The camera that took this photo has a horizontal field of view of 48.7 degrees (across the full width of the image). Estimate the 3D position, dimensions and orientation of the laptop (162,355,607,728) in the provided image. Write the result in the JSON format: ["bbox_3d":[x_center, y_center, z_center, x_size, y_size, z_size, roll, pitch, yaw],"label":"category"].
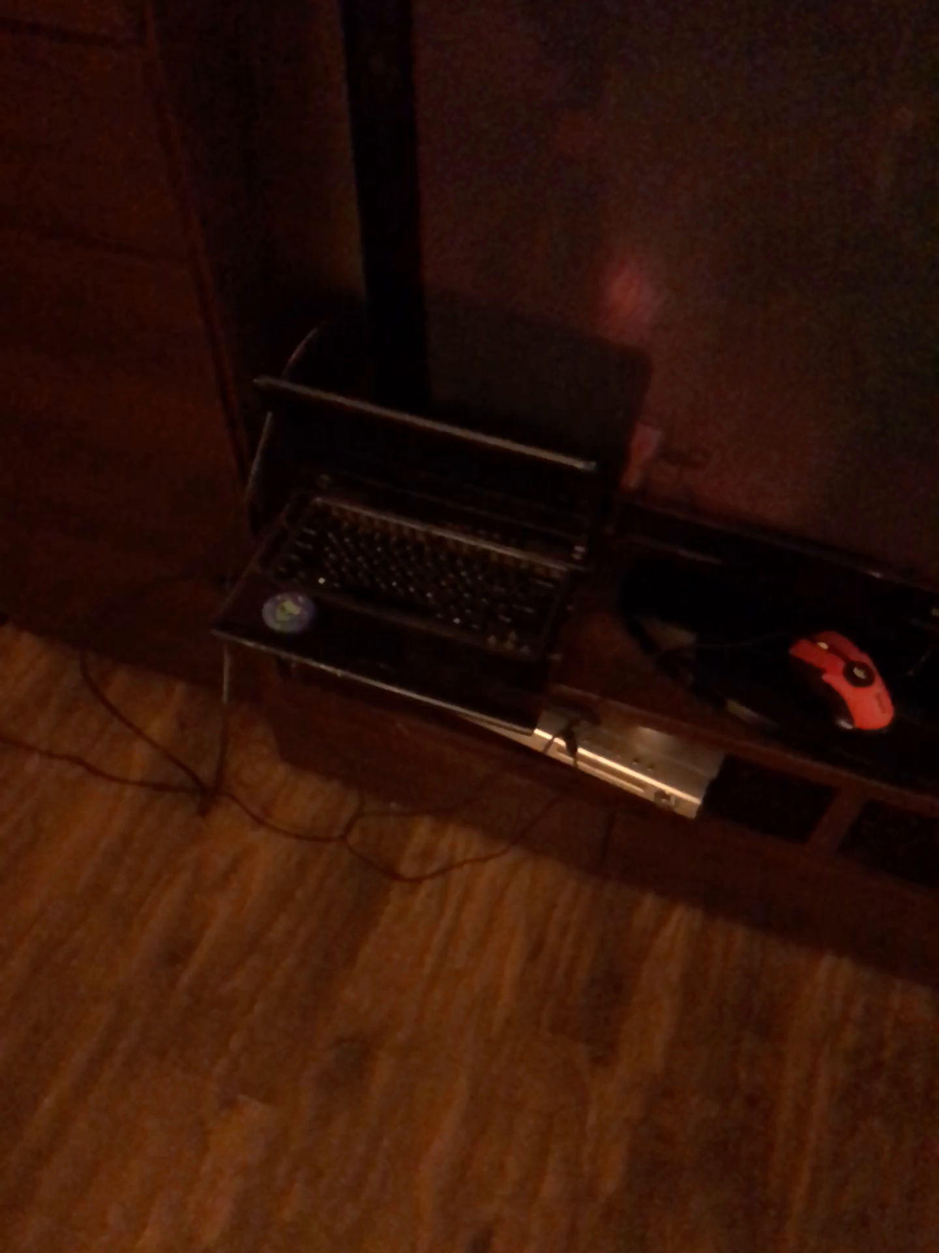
[{"bbox_3d":[-0.070,-0.083,0.975,0.336,0.183,0.200,16,54,10],"label":"laptop"}]
